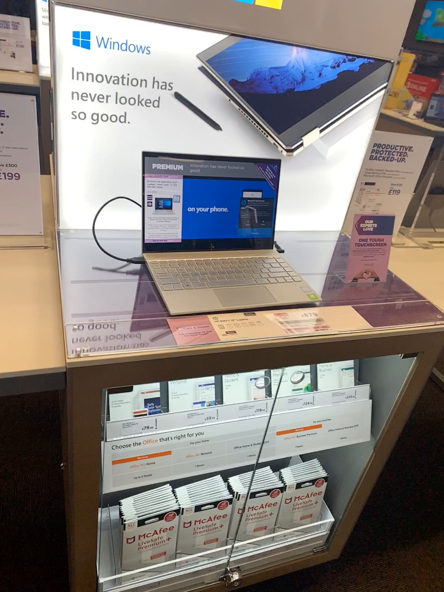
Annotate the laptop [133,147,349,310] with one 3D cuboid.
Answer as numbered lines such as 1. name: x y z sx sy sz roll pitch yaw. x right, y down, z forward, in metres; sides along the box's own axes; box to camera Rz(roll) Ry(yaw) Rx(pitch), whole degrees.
1. laptop: 0.015 -0.135 0.852 0.296 0.181 0.262 -4 35 -24
